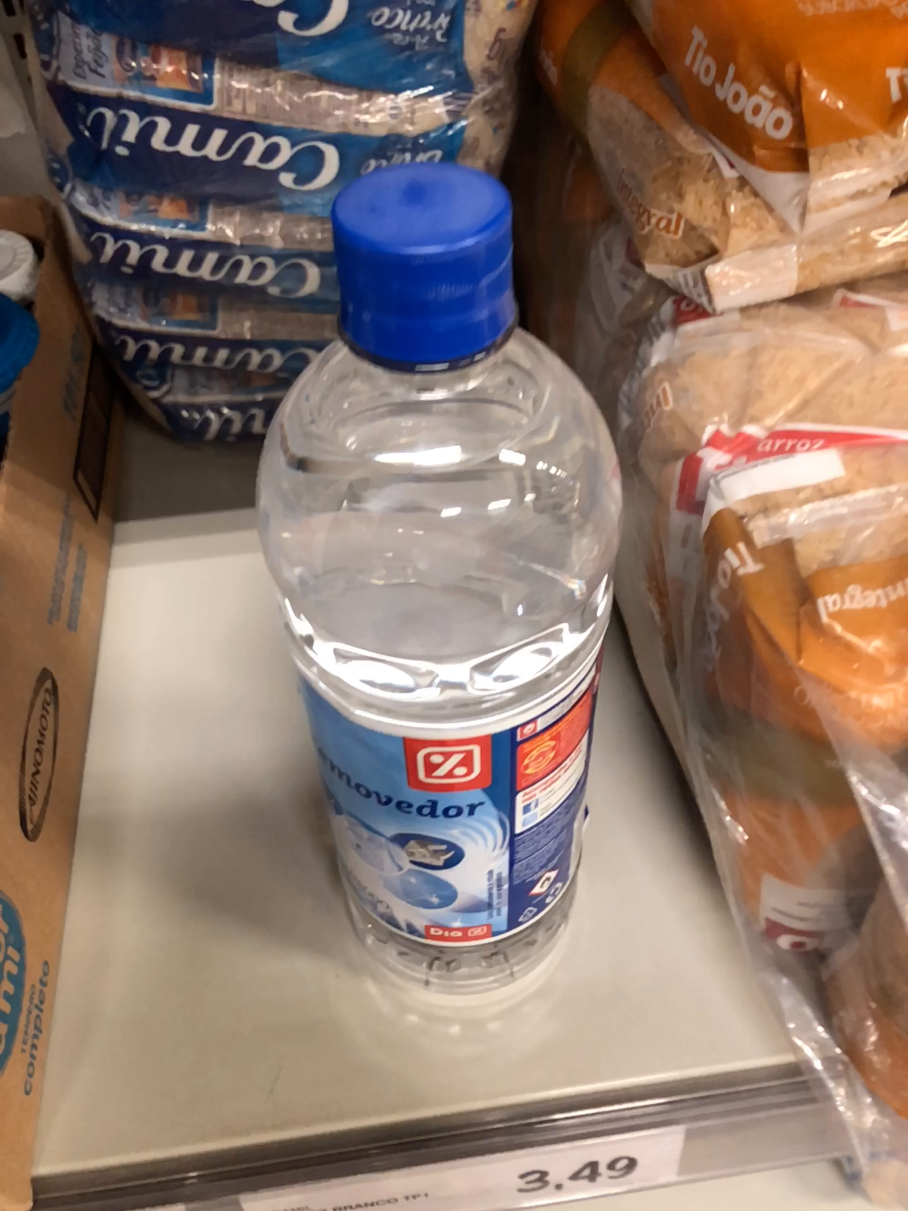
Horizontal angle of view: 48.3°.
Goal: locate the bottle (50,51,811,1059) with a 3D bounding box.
[{"bbox_3d":[0.000,0.020,0.260,0.090,0.259,0.080,-31,56,-19],"label":"bottle"}]
